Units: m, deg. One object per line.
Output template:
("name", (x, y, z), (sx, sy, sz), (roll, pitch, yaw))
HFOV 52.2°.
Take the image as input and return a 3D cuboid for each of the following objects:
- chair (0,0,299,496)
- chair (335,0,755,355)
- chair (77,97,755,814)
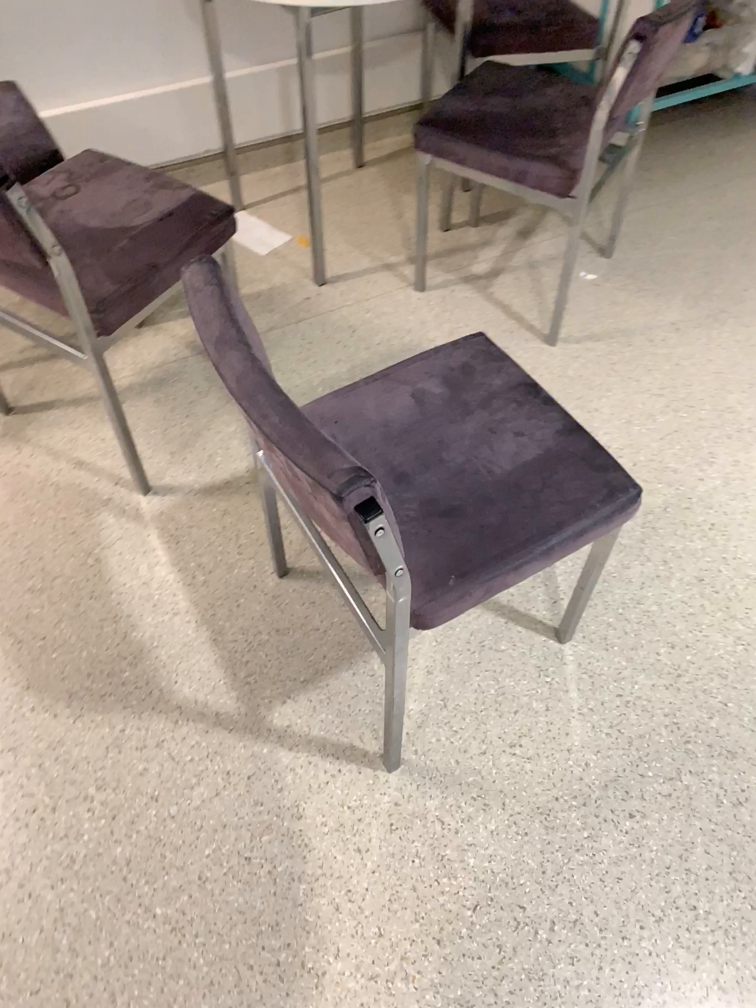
("chair", (-0.644, -0.531, 1.470), (0.742, 0.615, 0.513), (29, 64, 21))
("chair", (0.325, -0.845, 1.580), (0.511, 0.615, 0.745), (26, 55, 16))
("chair", (0.078, -0.117, 1.109), (0.681, 0.506, 0.684), (-24, 55, -19))
